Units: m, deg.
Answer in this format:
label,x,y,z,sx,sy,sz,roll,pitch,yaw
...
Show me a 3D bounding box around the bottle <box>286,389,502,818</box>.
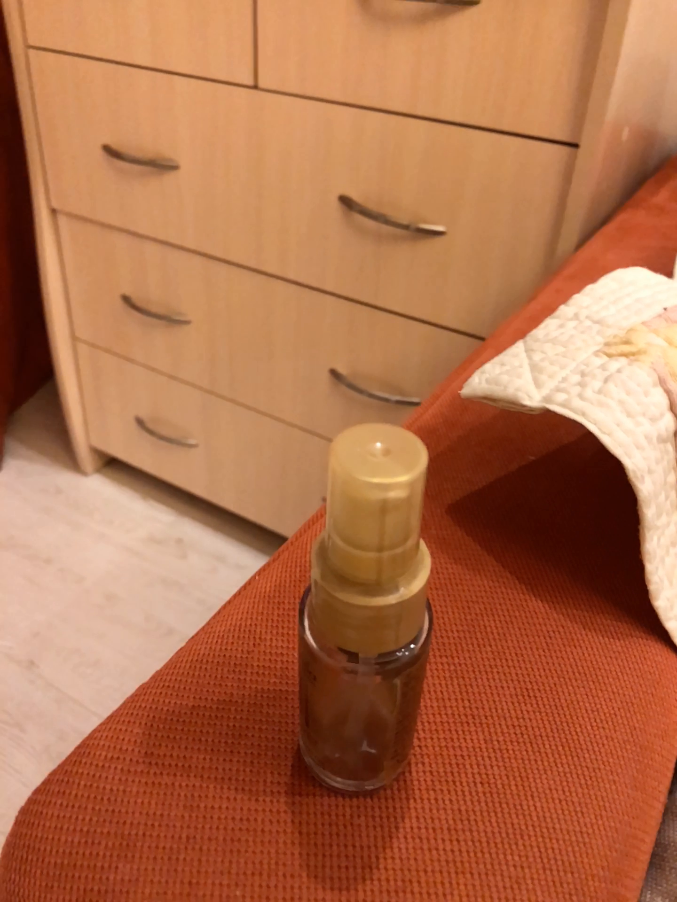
label,x,y,z,sx,sy,sz,roll,pitch,yaw
bottle,0.009,0.042,0.190,0.033,0.106,0.034,3,34,-2
